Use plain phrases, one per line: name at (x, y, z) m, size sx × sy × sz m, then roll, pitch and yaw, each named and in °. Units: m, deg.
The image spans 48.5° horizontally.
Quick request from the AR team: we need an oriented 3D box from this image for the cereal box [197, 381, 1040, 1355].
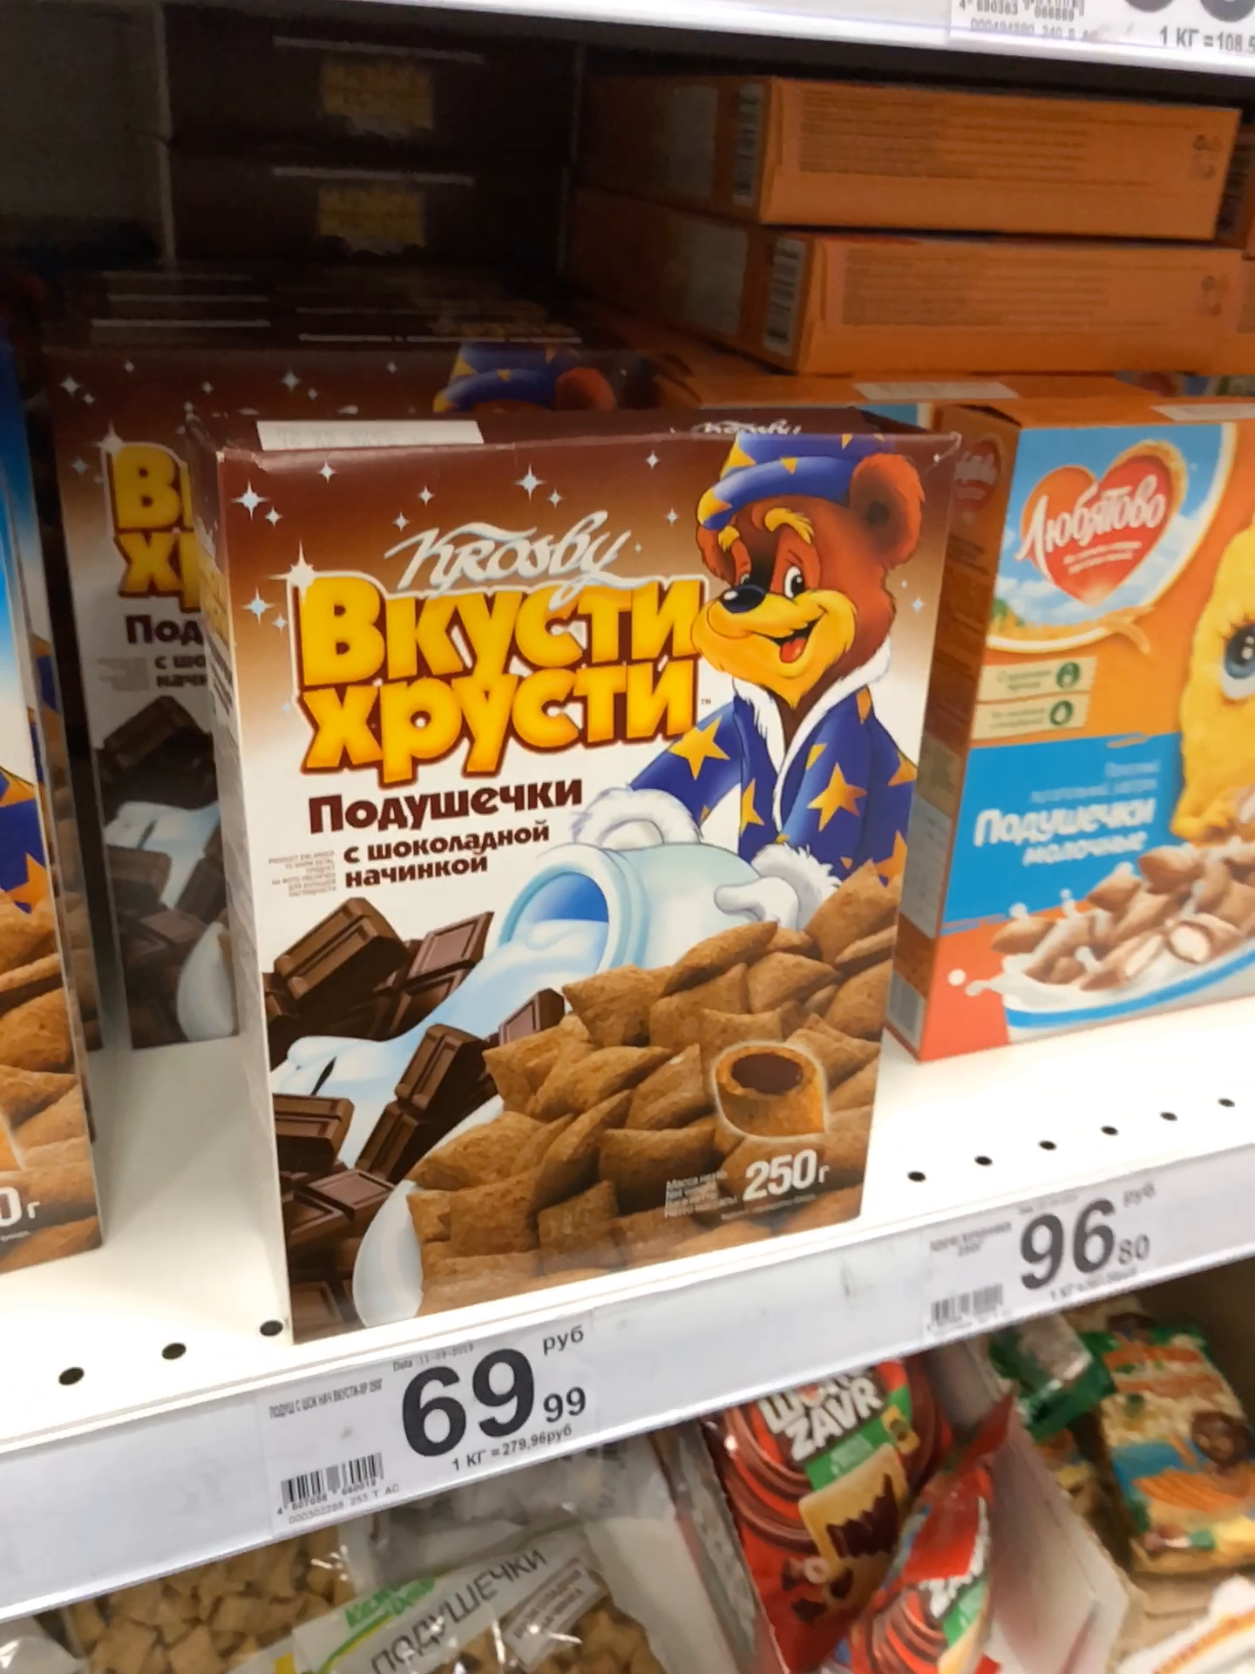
cereal box at (-0.004, 0.007, 0.355) m, size 0.180 × 0.229 × 0.050 m, roll -6°, pitch 26°, yaw -19°
